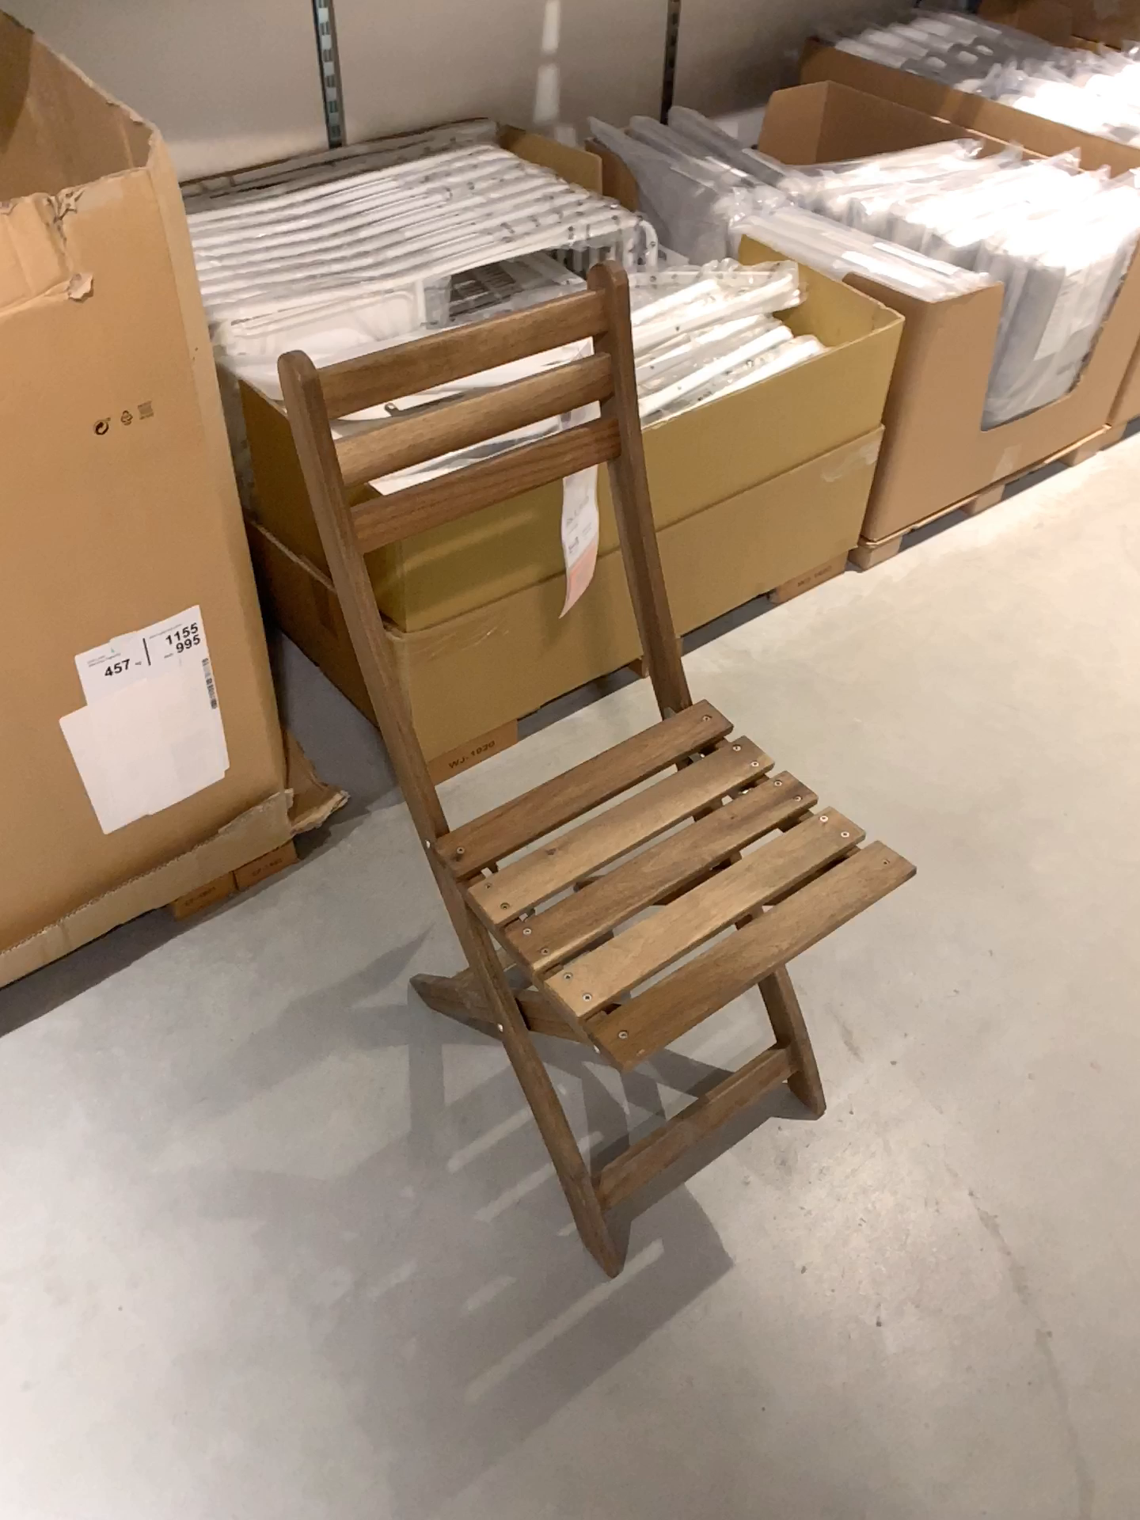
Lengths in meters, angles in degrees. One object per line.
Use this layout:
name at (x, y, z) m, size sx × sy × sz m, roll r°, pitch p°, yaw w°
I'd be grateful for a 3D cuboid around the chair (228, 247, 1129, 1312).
chair at (0.048, 0.036, 1.091) m, size 0.401 × 0.767 × 0.511 m, roll -28°, pitch 52°, yaw -27°
